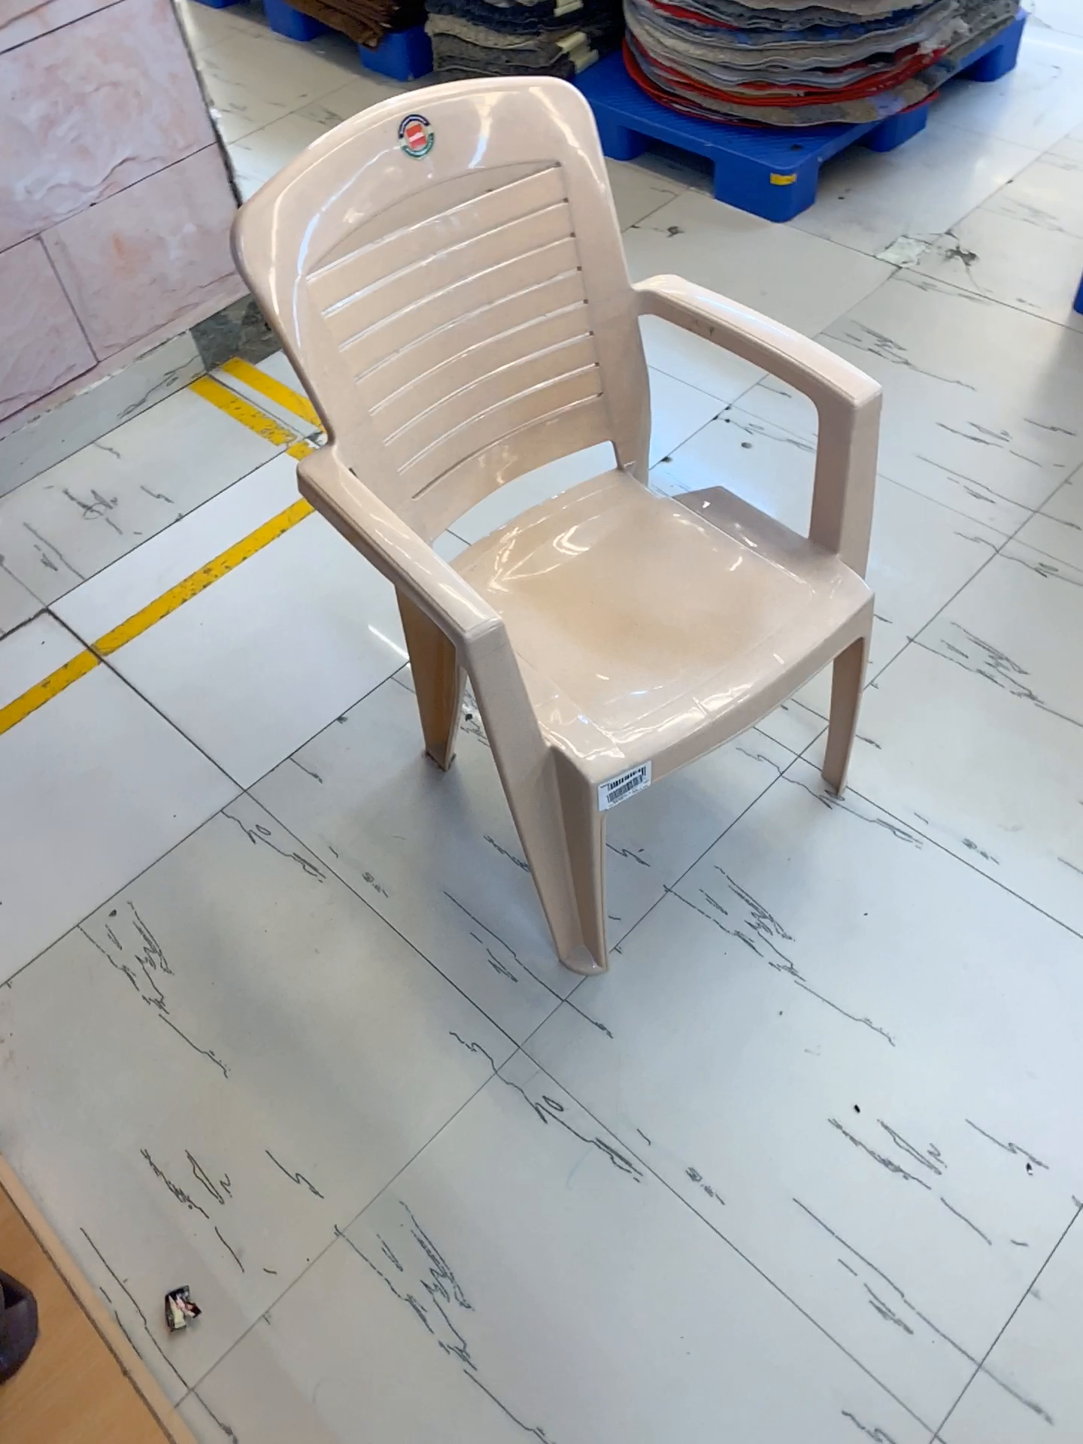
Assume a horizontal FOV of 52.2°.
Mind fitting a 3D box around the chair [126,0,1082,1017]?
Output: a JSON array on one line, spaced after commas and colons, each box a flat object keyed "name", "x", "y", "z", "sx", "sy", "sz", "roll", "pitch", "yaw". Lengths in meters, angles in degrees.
[{"name": "chair", "x": 0.062, "y": -0.219, "z": 1.263, "sx": 0.571, "sy": 0.774, "sz": 0.623, "roll": -34, "pitch": 57, "yaw": -18}]
